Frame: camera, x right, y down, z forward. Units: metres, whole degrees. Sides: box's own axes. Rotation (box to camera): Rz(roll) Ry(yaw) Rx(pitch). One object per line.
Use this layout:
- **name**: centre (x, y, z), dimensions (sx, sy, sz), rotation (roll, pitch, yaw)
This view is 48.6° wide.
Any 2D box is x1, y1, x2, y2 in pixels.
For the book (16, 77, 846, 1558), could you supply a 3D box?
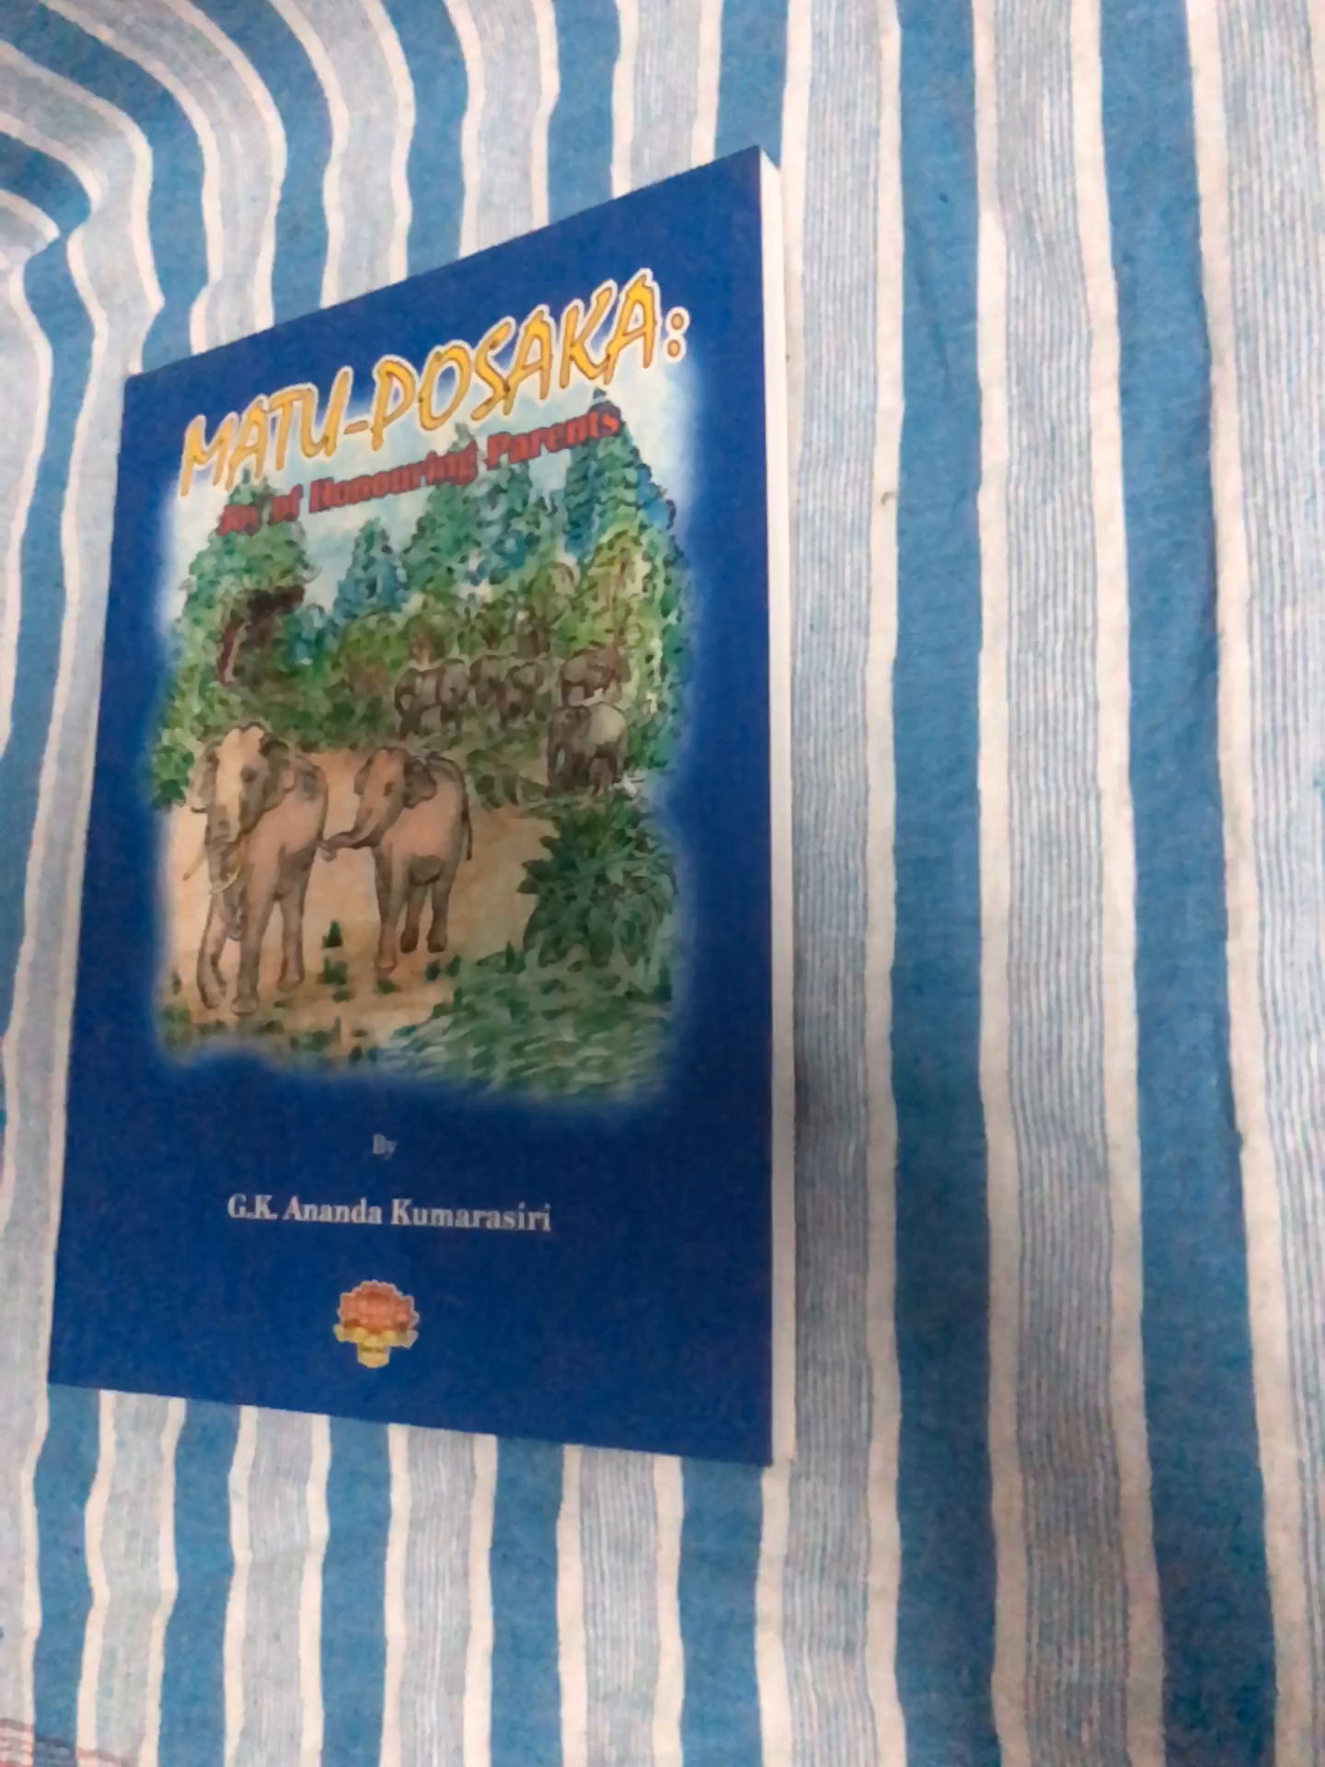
- **book**: centre (-0.048, -0.012, 0.275), dimensions (0.170, 0.020, 0.230), rotation (-5, 79, 31)
